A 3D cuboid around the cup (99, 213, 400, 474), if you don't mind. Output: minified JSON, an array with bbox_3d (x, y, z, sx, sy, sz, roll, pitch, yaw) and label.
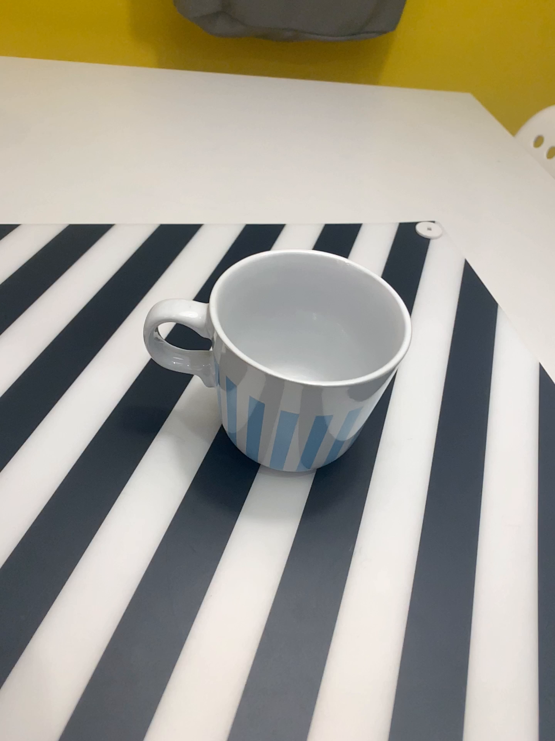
[{"bbox_3d":[-0.012,-0.012,0.261,0.110,0.070,0.080,7,45,-4],"label":"cup"}]
